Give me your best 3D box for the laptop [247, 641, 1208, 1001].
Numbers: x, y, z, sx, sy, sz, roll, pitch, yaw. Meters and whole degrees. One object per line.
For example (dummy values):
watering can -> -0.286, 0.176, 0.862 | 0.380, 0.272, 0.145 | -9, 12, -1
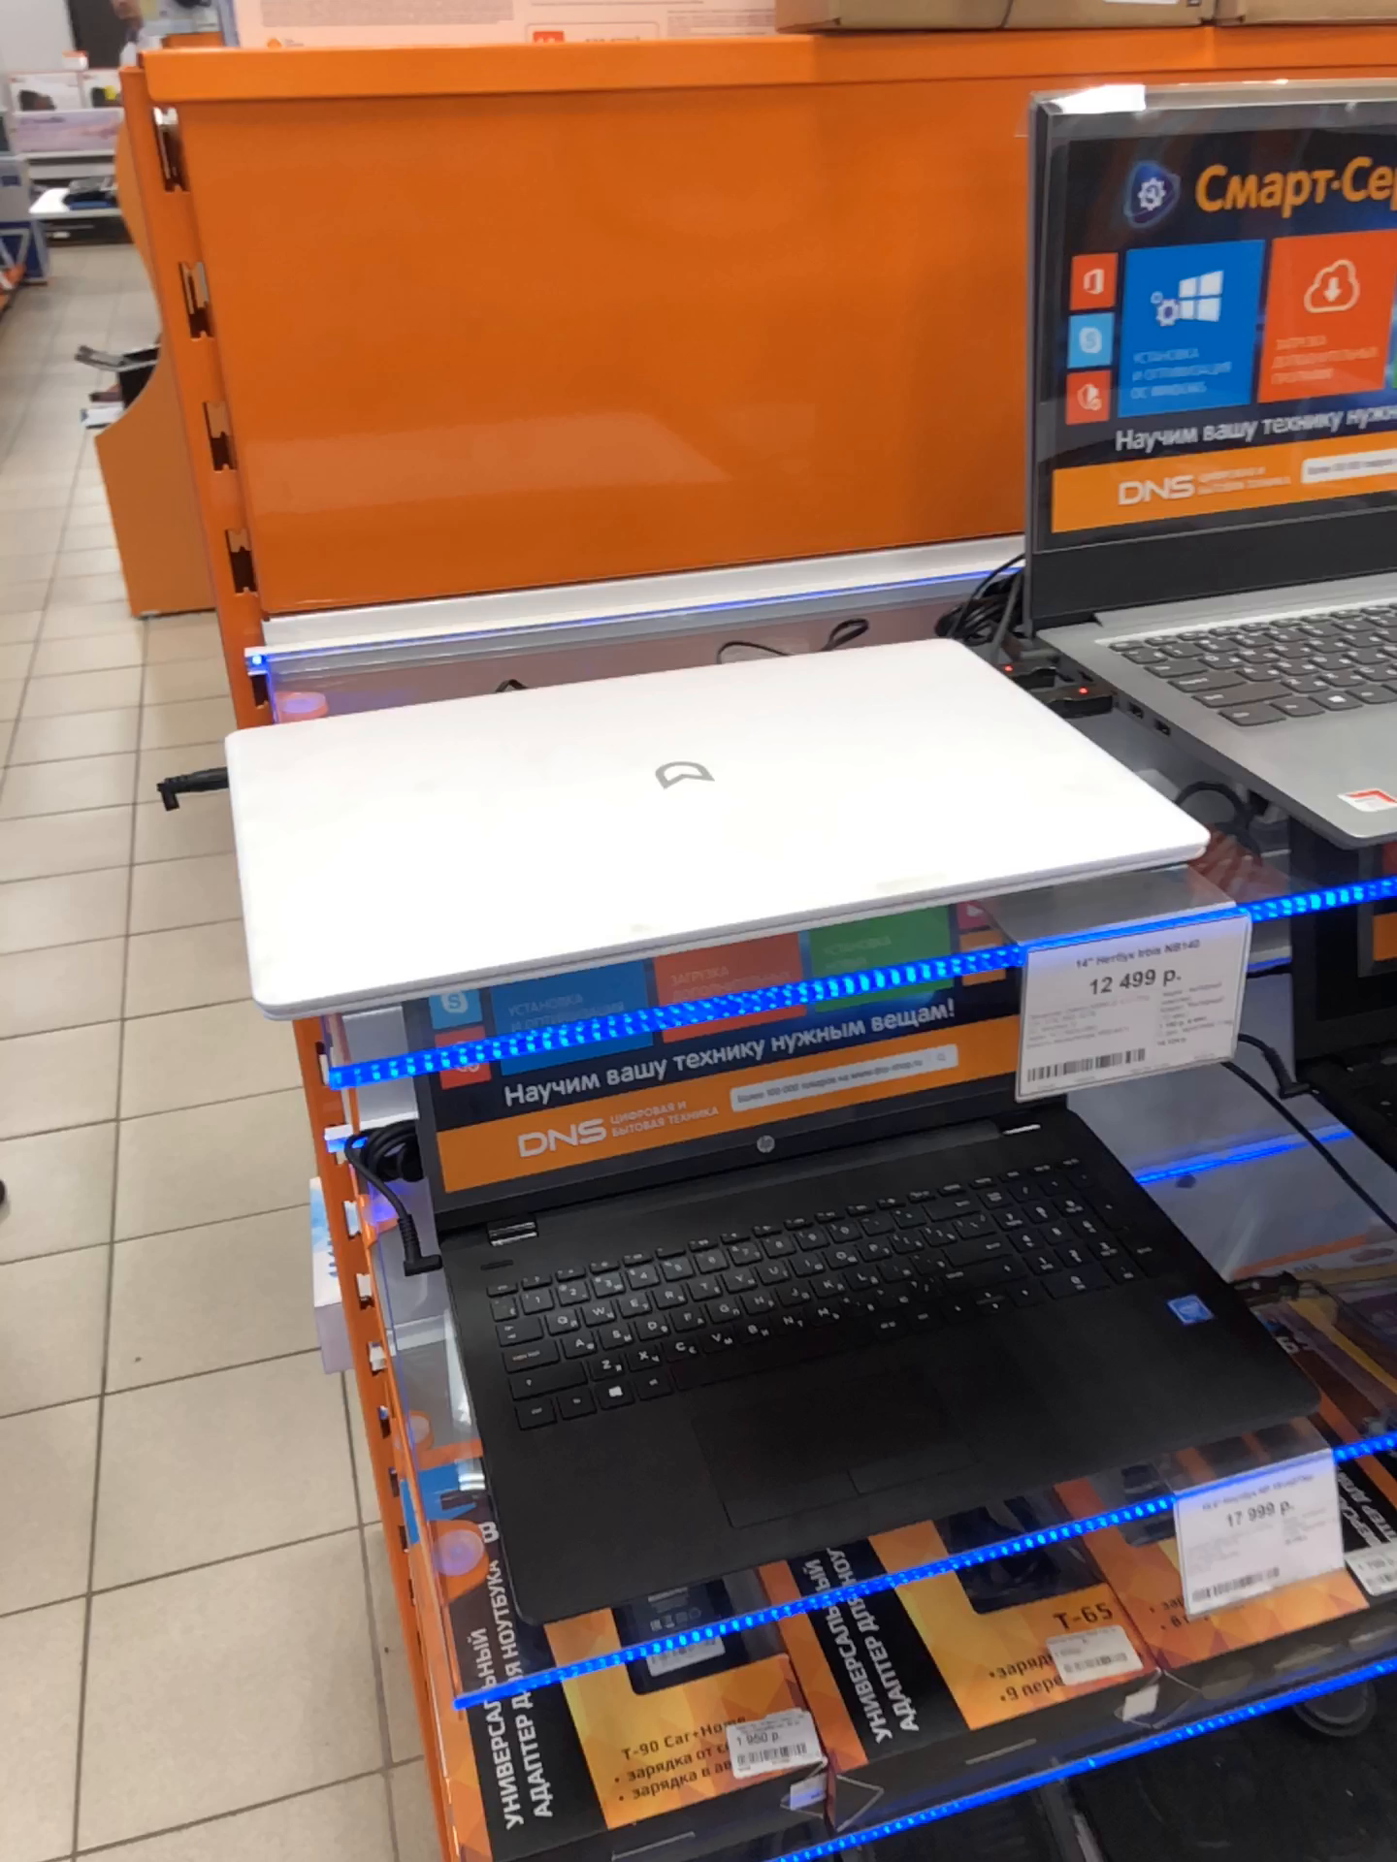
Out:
laptop -> -0.004, -0.056, 0.578 | 0.313, 0.002, 0.212 | -10, 31, -14

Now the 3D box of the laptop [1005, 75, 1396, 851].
laptop -> 0.350, -0.224, 0.639 | 0.344, 0.224, 0.280 | -11, 31, -16

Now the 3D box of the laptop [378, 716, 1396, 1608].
laptop -> 0.060, 0.079, 0.735 | 0.364, 0.228, 0.307 | -9, 30, -12
